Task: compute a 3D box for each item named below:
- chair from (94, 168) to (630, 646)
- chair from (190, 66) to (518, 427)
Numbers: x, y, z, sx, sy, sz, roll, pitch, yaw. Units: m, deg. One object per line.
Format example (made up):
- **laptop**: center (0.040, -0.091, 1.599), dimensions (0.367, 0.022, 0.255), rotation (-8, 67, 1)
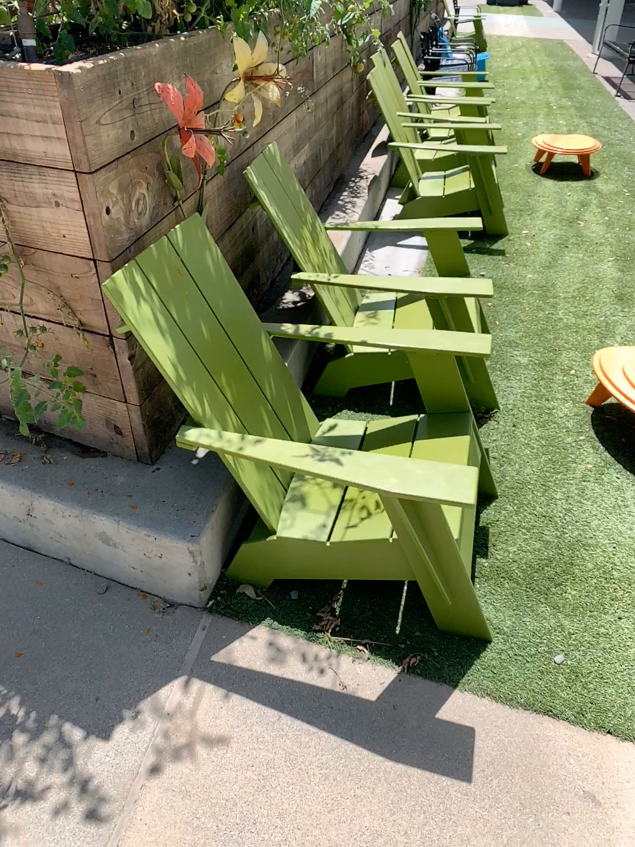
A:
- **chair**: center (0.149, -0.079, 1.574), dimensions (0.901, 0.835, 0.684), rotation (4, 35, 15)
- **chair**: center (0.229, -0.609, 2.416), dimensions (0.891, 0.984, 0.684), rotation (-3, 36, 21)
